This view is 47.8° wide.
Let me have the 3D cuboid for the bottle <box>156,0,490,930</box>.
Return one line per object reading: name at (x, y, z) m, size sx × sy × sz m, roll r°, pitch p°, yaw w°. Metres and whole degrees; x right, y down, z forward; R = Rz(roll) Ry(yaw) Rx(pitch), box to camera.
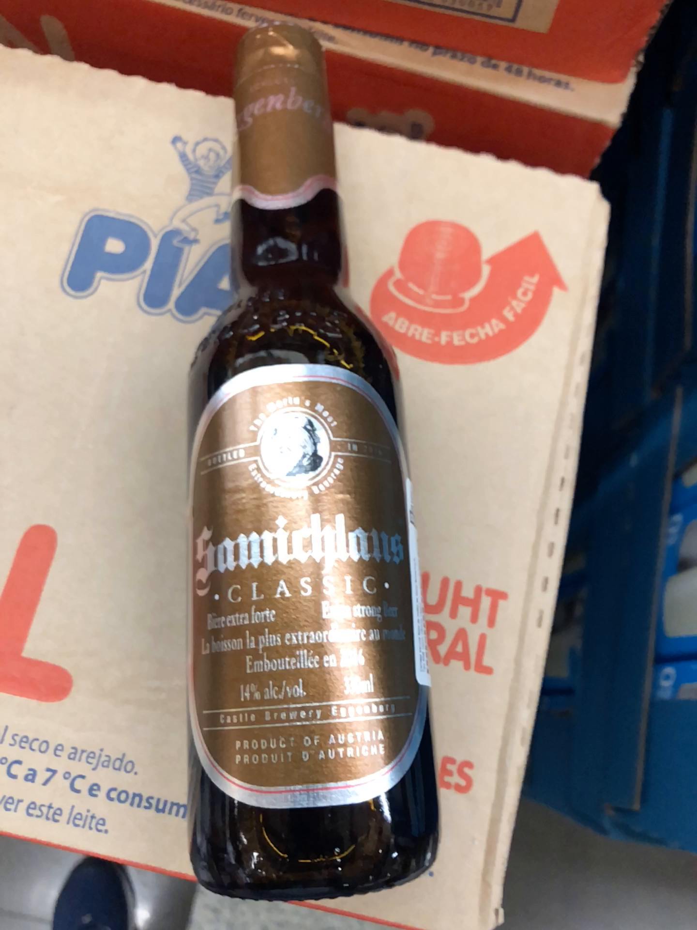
bottle at (-0.014, -0.030, 0.203) m, size 0.060 × 0.050 × 0.250 m, roll -3°, pitch 74°, yaw -5°
